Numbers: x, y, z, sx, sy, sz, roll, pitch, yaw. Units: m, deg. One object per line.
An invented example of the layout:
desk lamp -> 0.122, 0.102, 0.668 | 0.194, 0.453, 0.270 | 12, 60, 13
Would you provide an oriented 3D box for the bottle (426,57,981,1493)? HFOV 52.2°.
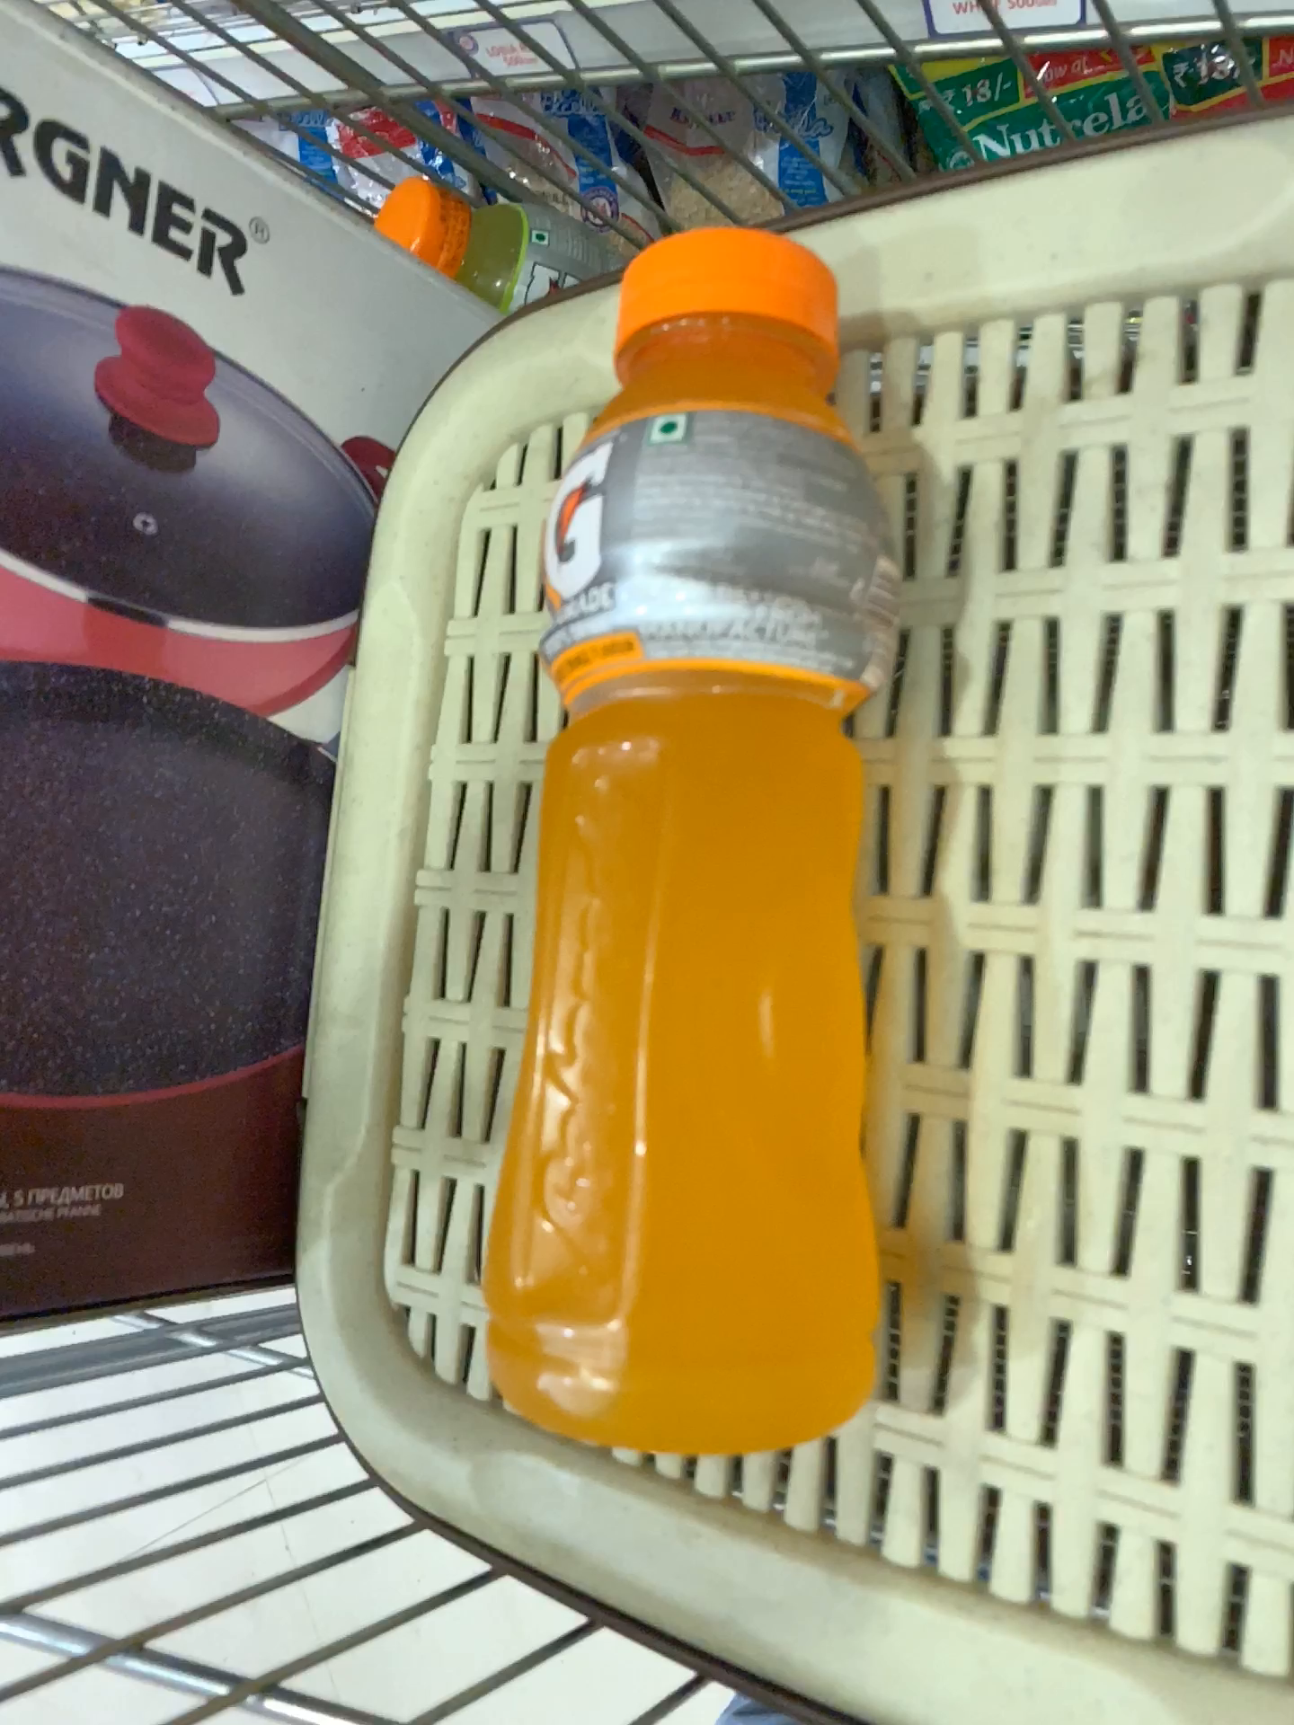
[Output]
bottle -> 0.010, -0.013, 0.230 | 0.060, 0.060, 0.210 | -8, 76, 62
